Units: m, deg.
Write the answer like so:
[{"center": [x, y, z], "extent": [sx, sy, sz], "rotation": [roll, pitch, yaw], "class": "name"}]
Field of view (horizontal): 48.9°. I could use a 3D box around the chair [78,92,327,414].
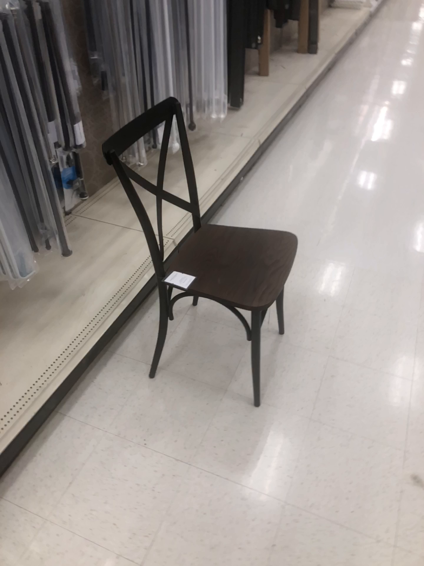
[{"center": [0.003, -0.095, 1.493], "extent": [0.525, 0.811, 0.478], "rotation": [13, 40, 16], "class": "chair"}]
